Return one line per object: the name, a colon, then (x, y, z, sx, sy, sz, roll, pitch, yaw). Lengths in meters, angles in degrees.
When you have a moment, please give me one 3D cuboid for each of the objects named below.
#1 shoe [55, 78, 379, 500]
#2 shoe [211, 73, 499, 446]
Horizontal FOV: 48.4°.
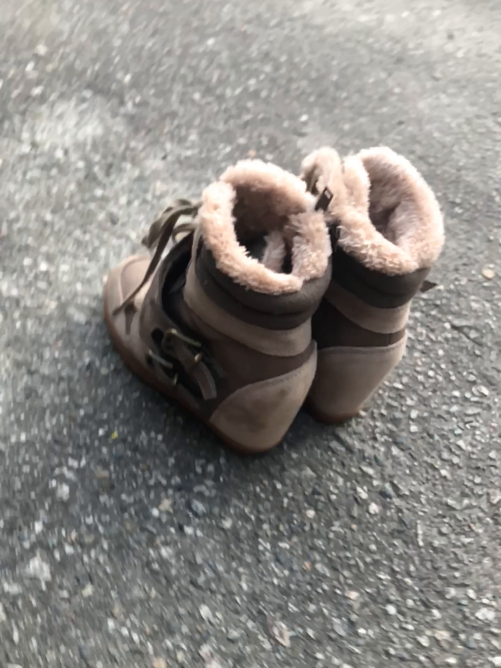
shoe: (-0.042, -0.038, 0.403, 0.100, 0.179, 0.231, -20, 54, -24)
shoe: (0.052, -0.065, 0.446, 0.090, 0.179, 0.231, -12, 51, -19)
